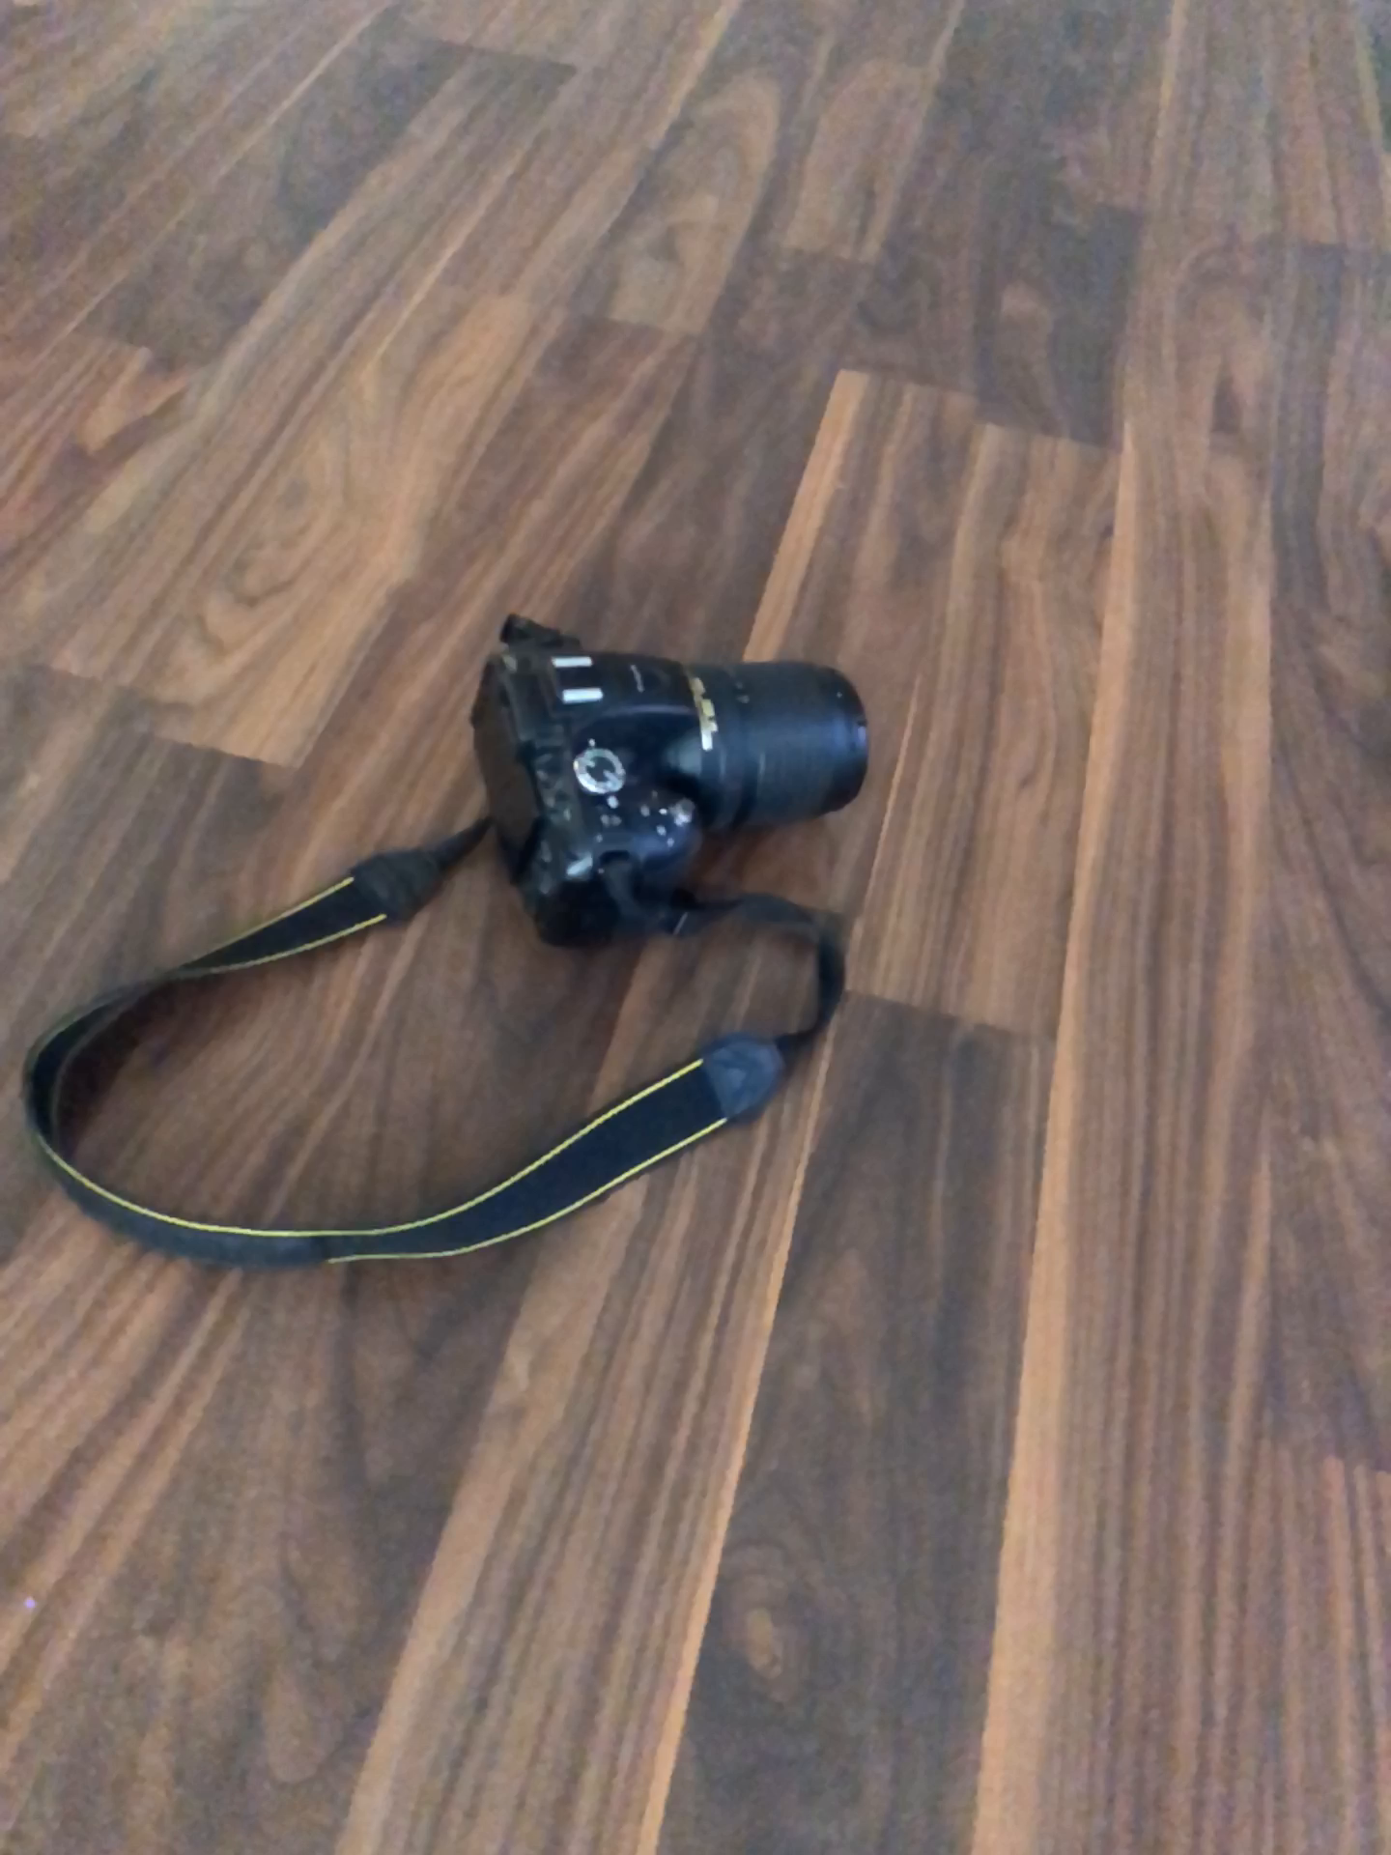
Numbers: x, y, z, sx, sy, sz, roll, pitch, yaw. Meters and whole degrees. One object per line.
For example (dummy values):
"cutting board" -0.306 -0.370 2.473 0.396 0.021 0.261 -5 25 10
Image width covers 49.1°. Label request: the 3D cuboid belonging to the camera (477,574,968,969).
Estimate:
"camera" 0.006 -0.068 0.620 0.160 0.070 0.120 -13 52 -16
